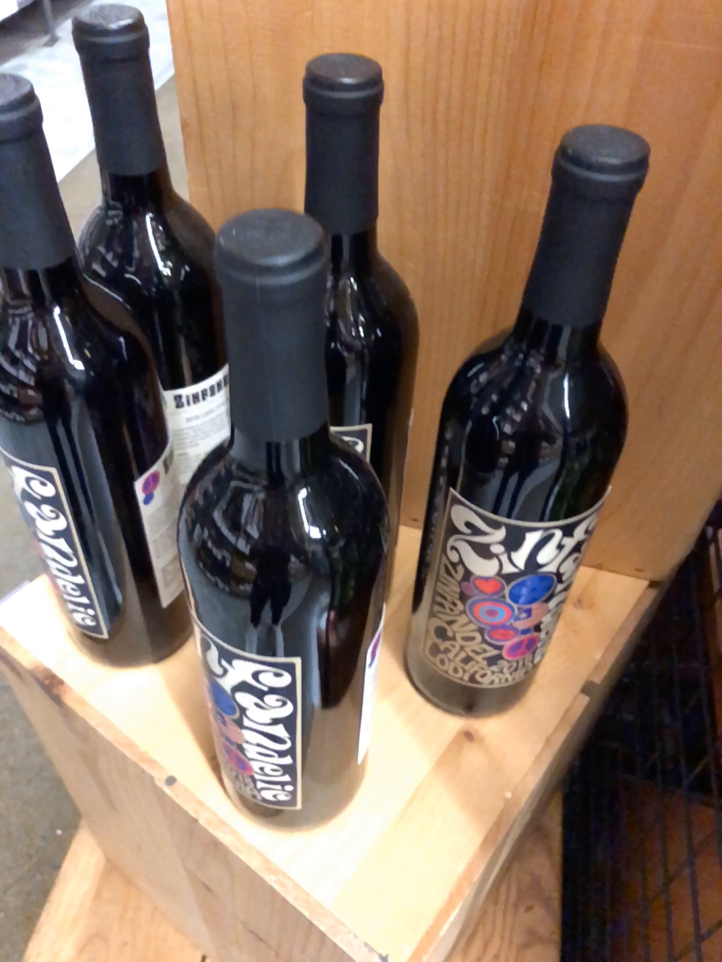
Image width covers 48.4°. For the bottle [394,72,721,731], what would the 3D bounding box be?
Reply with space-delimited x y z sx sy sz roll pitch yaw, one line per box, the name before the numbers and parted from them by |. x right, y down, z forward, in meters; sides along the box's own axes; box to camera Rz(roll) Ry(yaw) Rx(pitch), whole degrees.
bottle | 0.065 0.000 0.354 0.080 0.310 0.077 2 46 -2

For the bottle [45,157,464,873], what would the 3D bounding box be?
bottle | -0.031 0.043 0.297 0.073 0.286 0.070 2 46 -2

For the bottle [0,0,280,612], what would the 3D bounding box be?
bottle | -0.094 -0.061 0.378 0.080 0.280 0.077 2 46 -2

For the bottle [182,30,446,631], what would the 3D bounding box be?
bottle | -0.019 -0.042 0.369 0.080 0.274 0.077 2 46 -2

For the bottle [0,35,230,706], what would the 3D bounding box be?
bottle | -0.128 -0.021 0.371 0.080 0.304 0.077 2 46 -2
